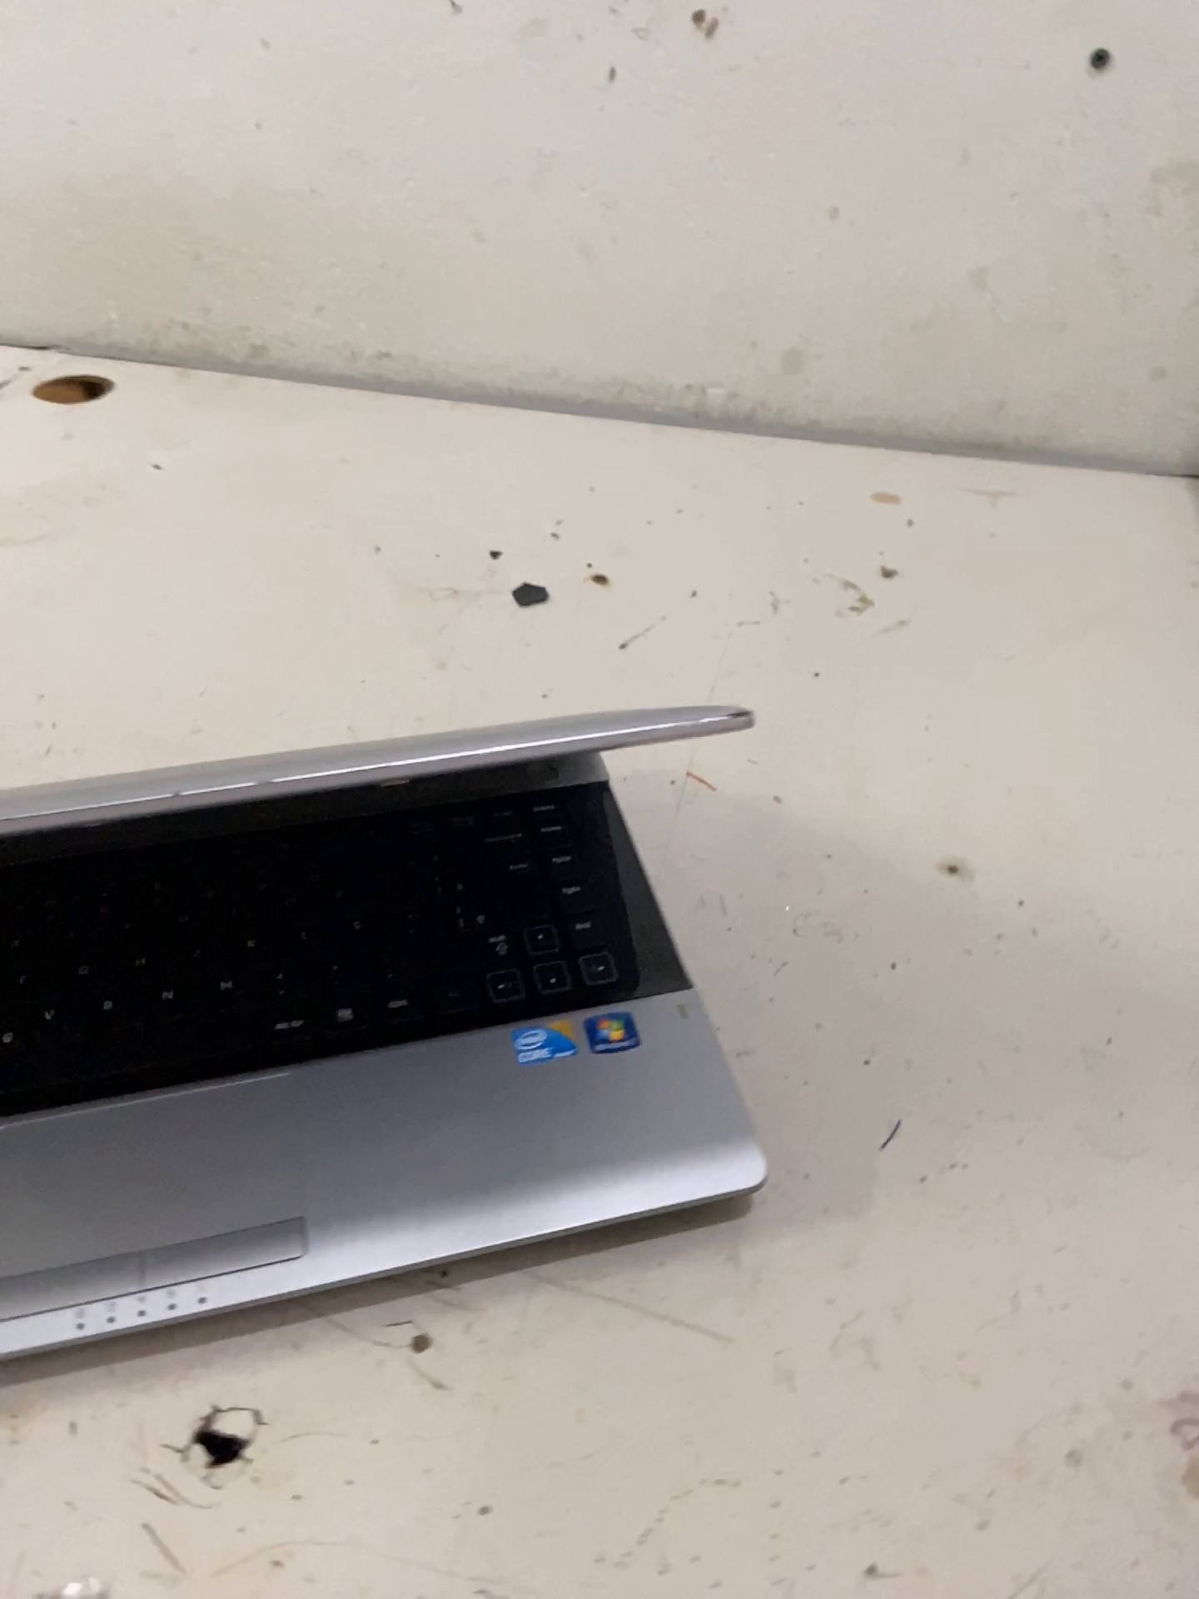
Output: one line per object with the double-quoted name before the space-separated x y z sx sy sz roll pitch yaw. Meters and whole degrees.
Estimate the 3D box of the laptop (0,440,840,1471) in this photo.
"laptop" -0.137 0.013 0.380 0.336 0.133 0.233 -8 40 -13
